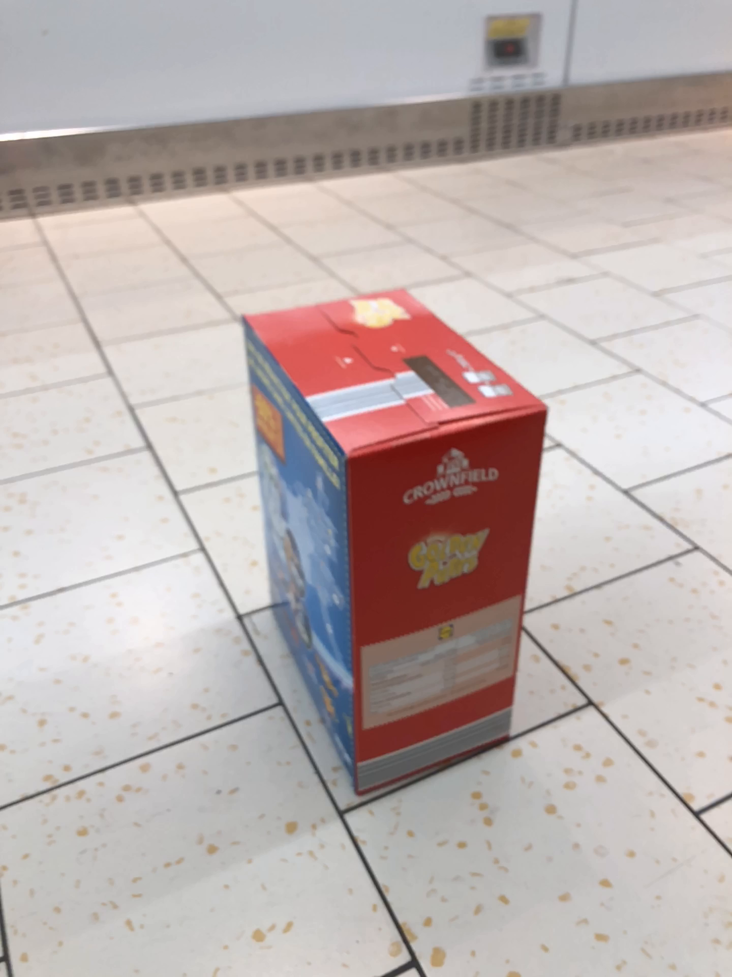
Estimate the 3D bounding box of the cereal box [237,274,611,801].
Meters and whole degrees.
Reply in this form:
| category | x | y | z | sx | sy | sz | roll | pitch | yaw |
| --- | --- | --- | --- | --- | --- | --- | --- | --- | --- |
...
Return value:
| category | x | y | z | sx | sy | sz | roll | pitch | yaw |
| --- | --- | --- | --- | --- | --- | --- | --- | --- | --- |
| cereal box | 0.022 | 0.021 | 0.533 | 0.140 | 0.248 | 0.201 | -13 | 35 | -19 |
